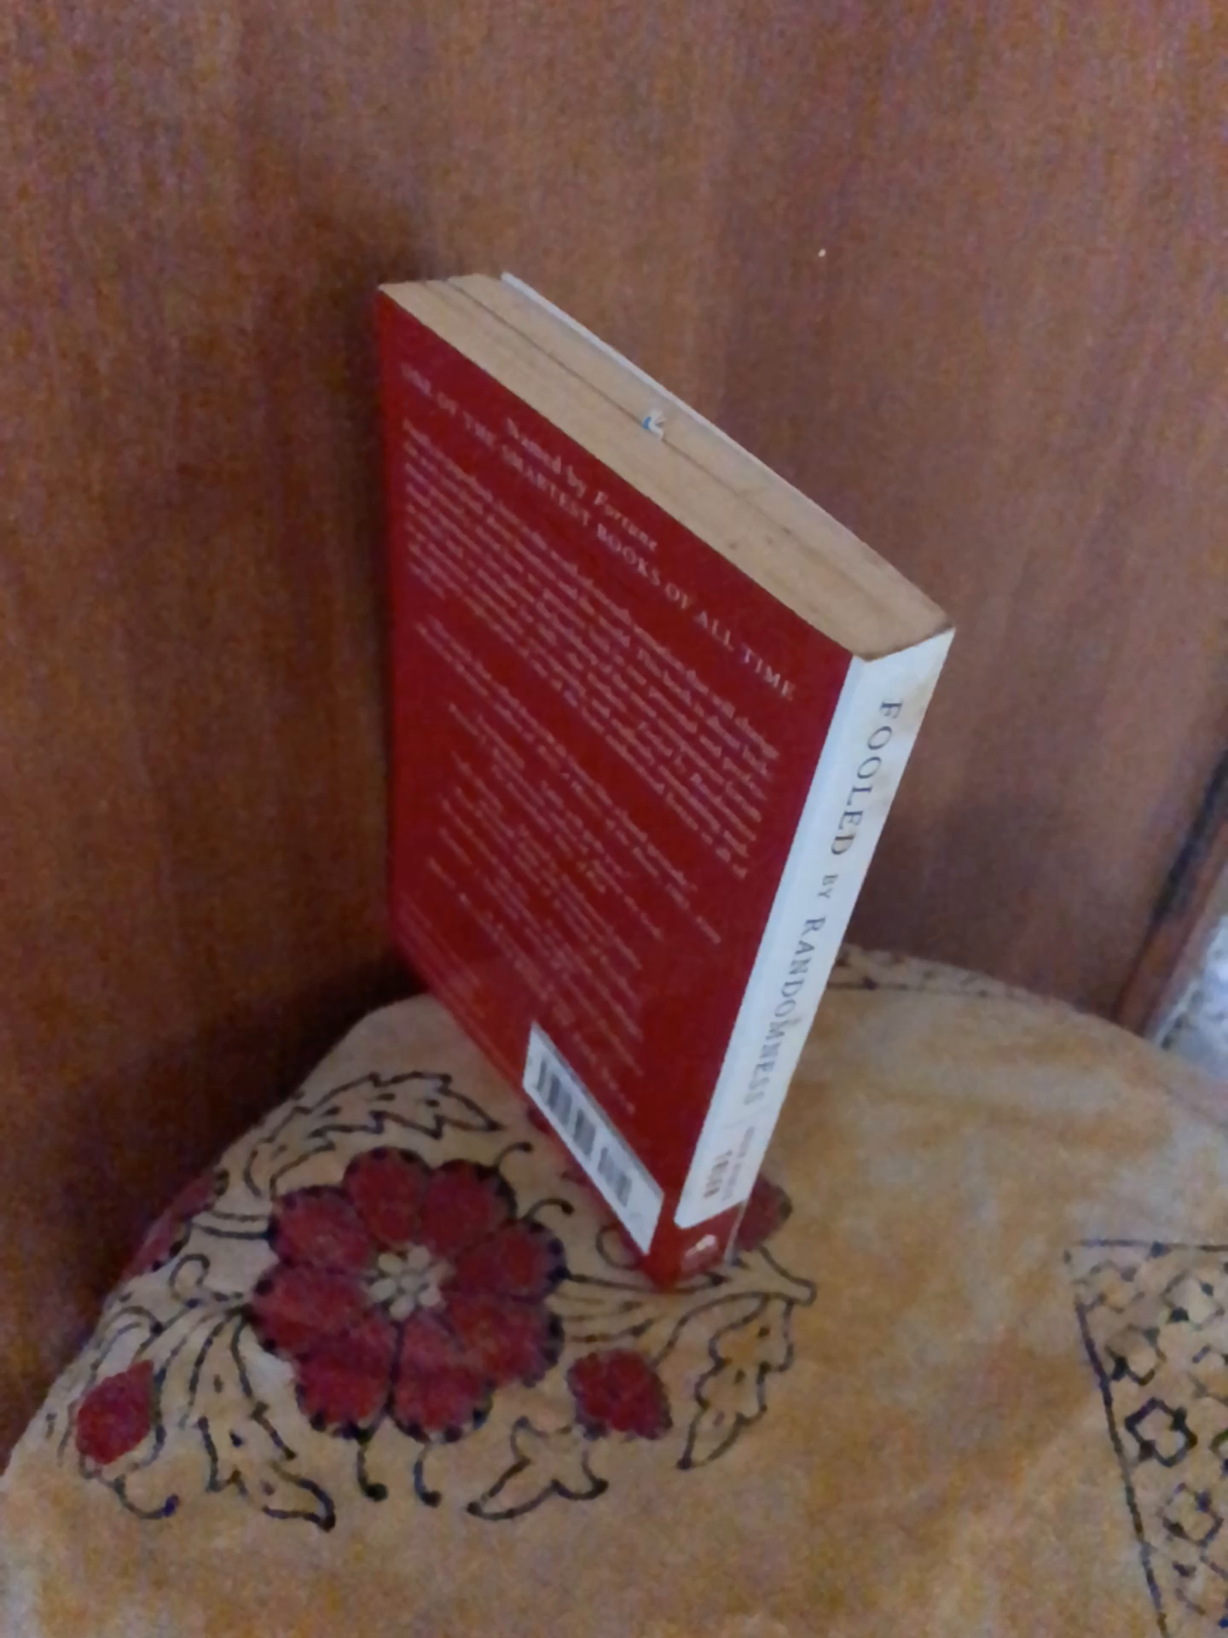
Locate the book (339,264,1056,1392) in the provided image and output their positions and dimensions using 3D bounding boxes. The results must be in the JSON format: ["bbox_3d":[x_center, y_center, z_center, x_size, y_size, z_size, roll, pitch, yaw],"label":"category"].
[{"bbox_3d":[-0.004,0.003,0.312,0.040,0.199,0.160,-21,46,-30],"label":"book"}]
